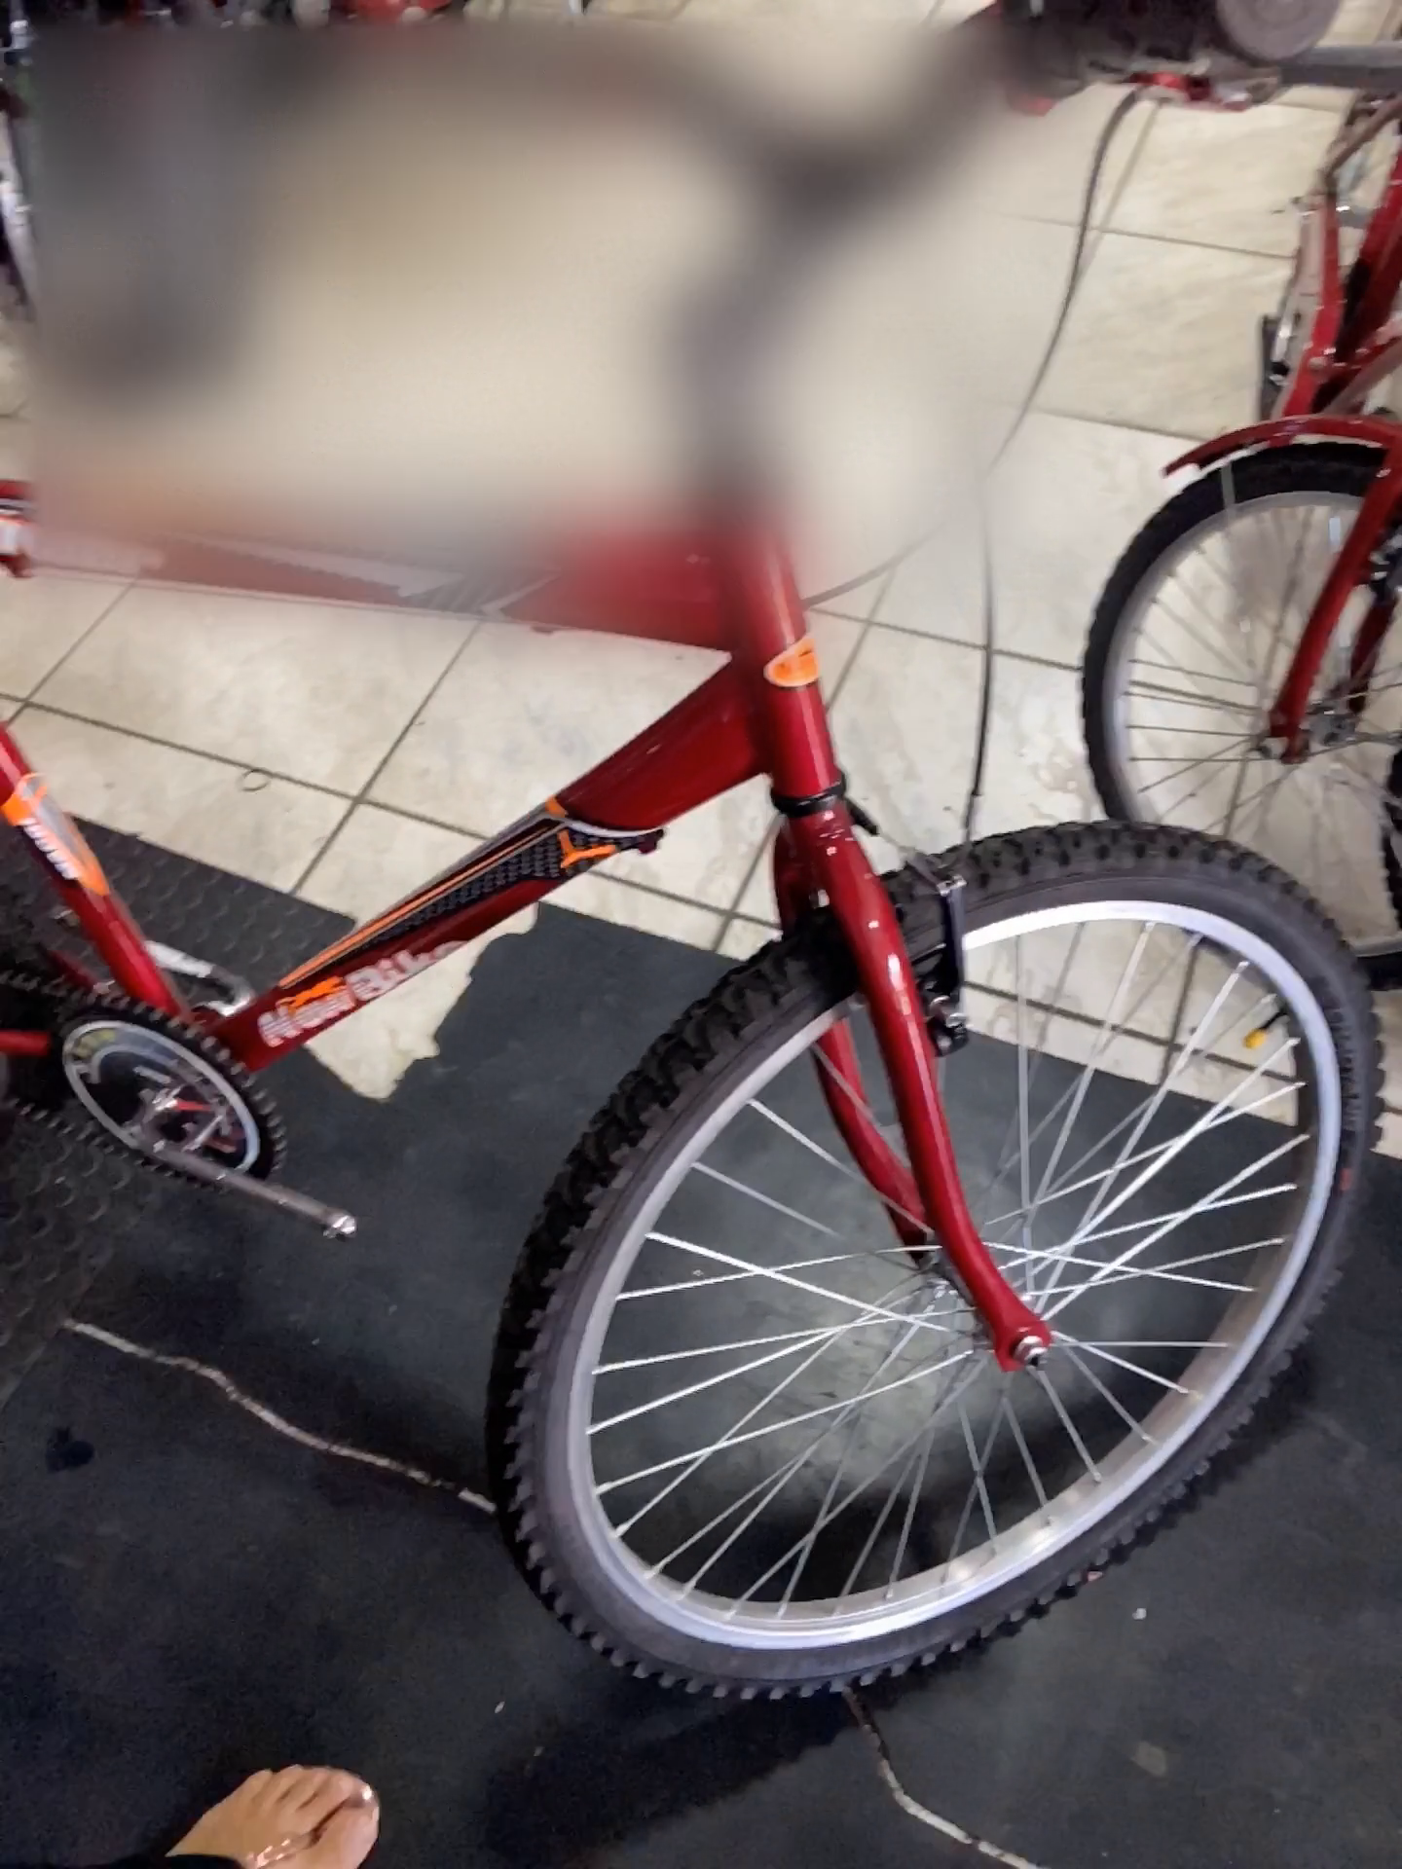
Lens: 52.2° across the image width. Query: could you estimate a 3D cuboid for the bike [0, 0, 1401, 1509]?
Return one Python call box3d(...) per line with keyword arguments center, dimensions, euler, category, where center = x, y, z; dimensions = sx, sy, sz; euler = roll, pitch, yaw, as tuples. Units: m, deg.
box3d(center=(-0.344, -0.203, 0.917), dimensions=(1.582, 1.030, 0.568), euler=(7, 55, 13), category="bike")
